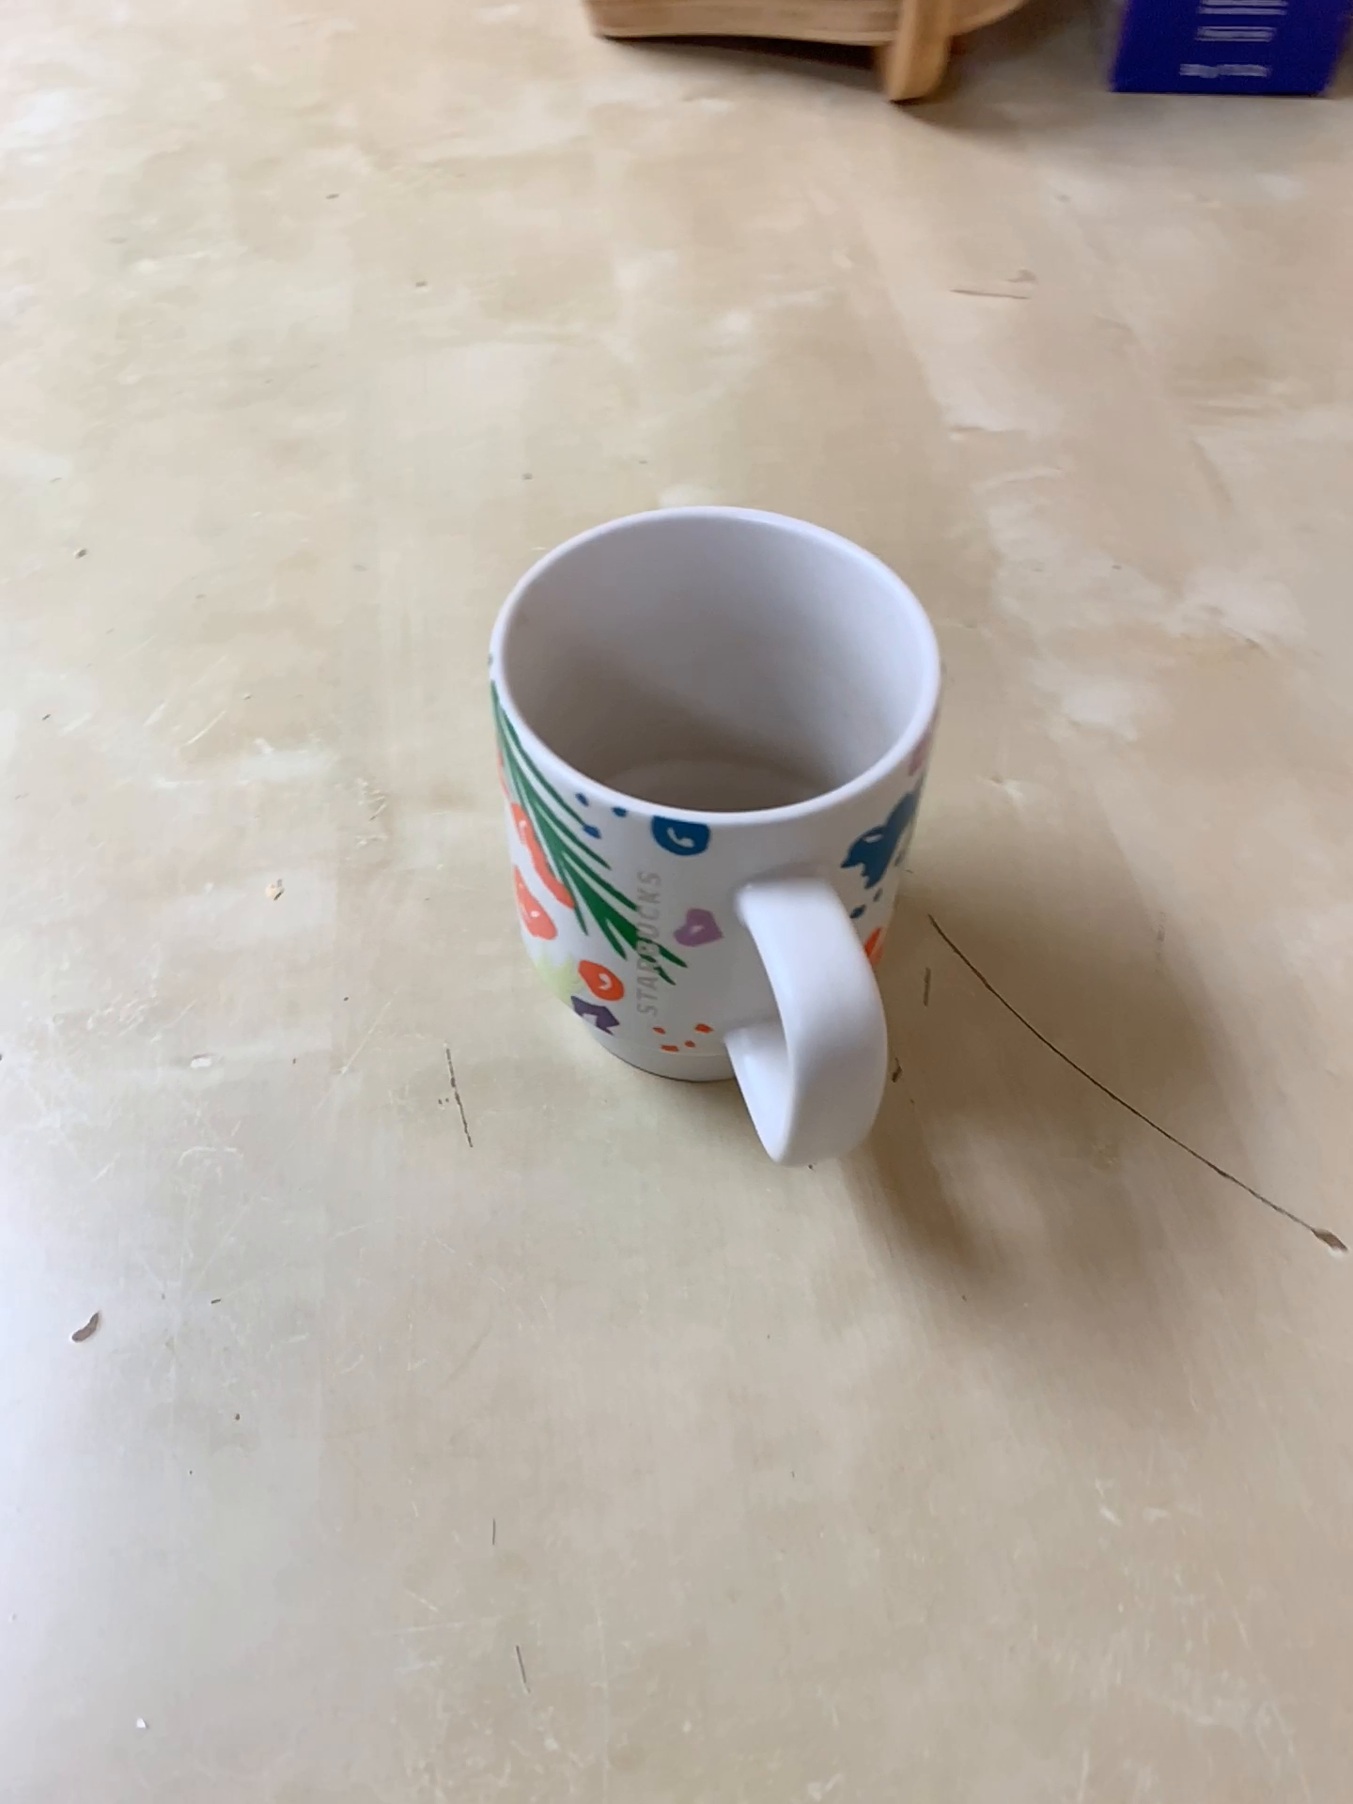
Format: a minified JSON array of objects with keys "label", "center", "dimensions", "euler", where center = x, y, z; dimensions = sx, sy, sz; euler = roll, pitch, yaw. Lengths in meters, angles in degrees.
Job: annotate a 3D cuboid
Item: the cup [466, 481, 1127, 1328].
[{"label":"cup","center":[0.013,-0.001,0.282],"dimensions":[0.081,0.095,0.128],"euler":[-11,54,-9]}]
